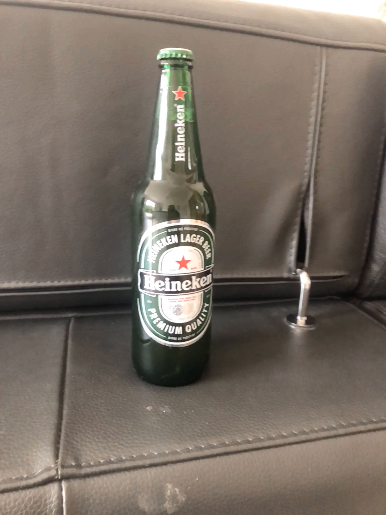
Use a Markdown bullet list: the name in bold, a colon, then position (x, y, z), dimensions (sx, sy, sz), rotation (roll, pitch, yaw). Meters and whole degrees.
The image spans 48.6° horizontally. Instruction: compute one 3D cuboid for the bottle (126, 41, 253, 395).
- **bottle**: position (-0.012, -0.027, 0.368), dimensions (0.080, 0.269, 0.080), rotation (3, 16, -1)
